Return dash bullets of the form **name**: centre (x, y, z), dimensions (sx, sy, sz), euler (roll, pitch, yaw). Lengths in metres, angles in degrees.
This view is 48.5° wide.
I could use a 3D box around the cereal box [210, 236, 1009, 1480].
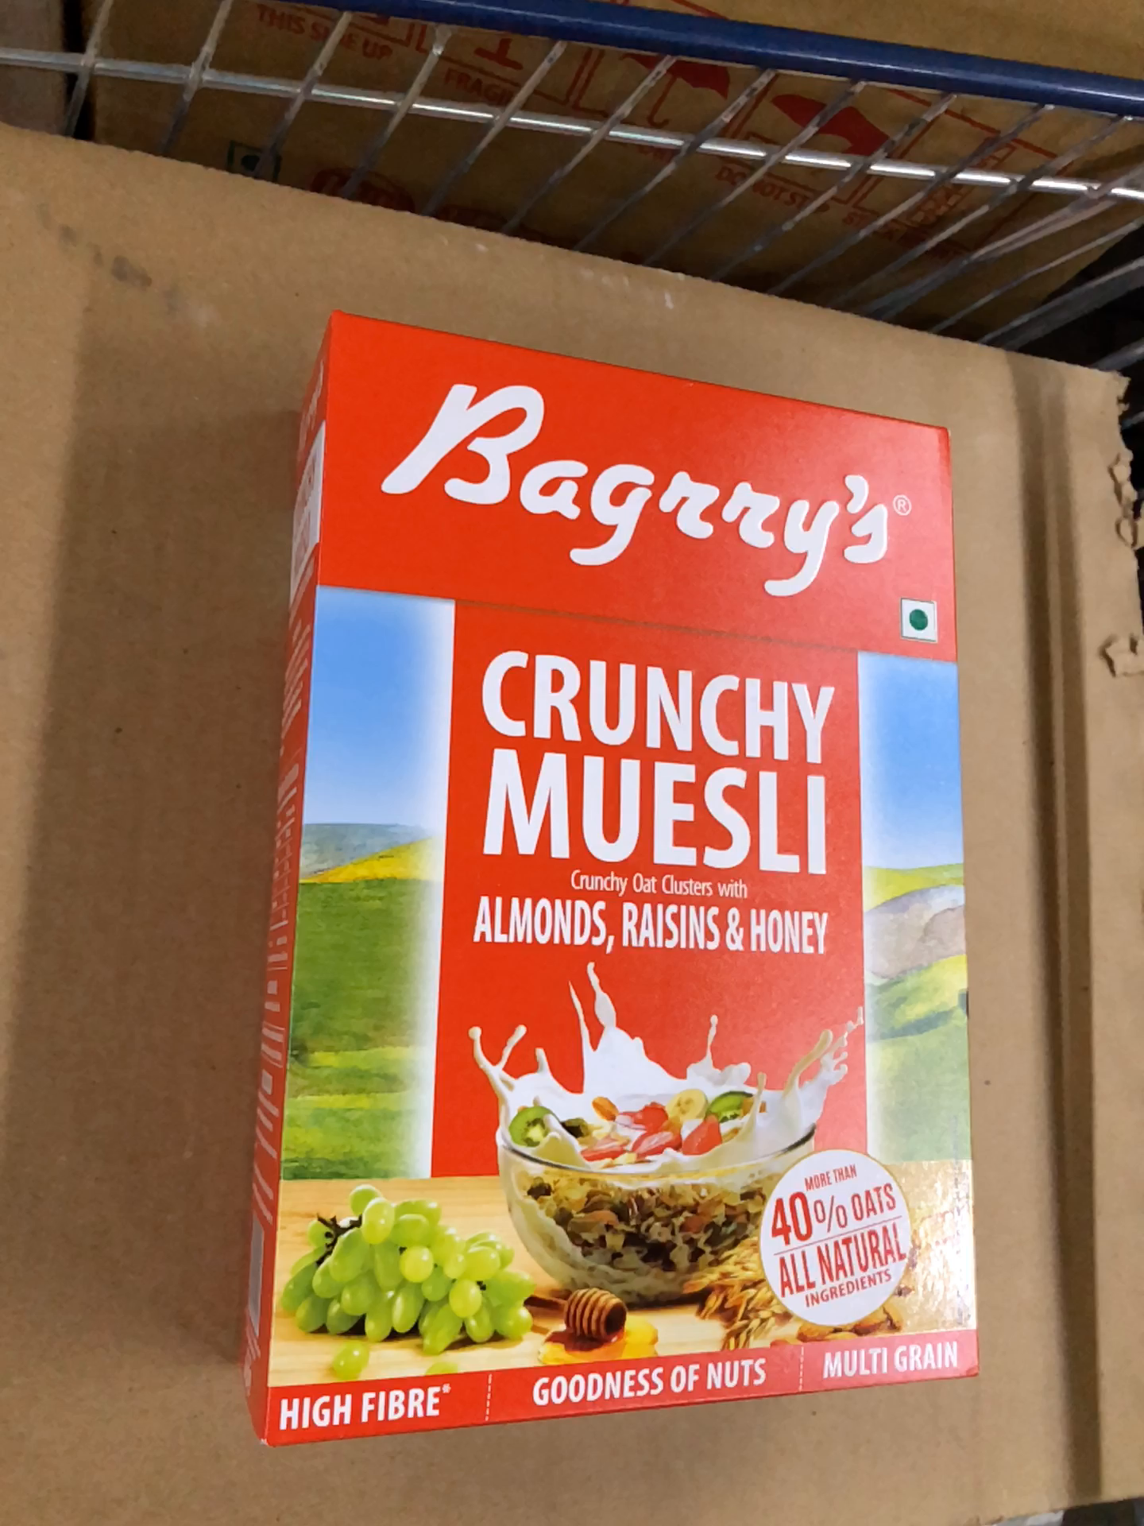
- **cereal box**: centre (0.011, 0.021, 0.326), dimensions (0.180, 0.070, 0.260), euler (4, 81, -18)
